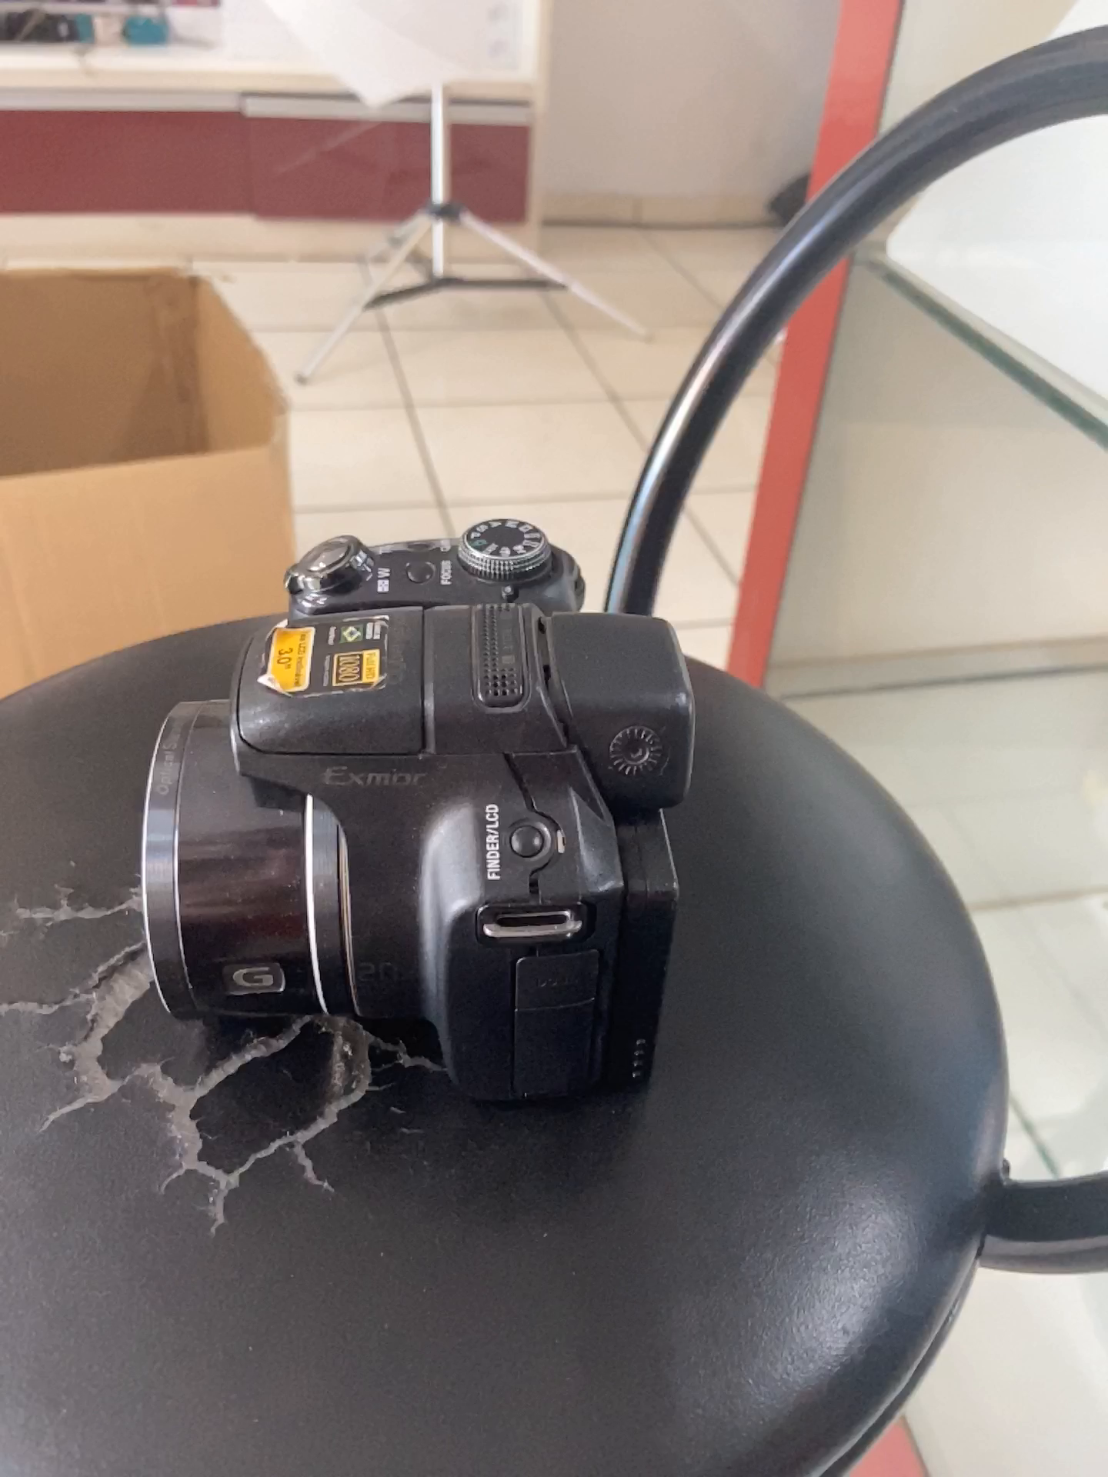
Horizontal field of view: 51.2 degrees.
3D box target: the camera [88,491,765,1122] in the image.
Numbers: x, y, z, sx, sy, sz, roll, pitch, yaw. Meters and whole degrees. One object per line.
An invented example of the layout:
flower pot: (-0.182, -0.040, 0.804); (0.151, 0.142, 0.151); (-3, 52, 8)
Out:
camera: (-0.023, 0.009, 0.236); (0.100, 0.079, 0.101); (0, 38, -5)
